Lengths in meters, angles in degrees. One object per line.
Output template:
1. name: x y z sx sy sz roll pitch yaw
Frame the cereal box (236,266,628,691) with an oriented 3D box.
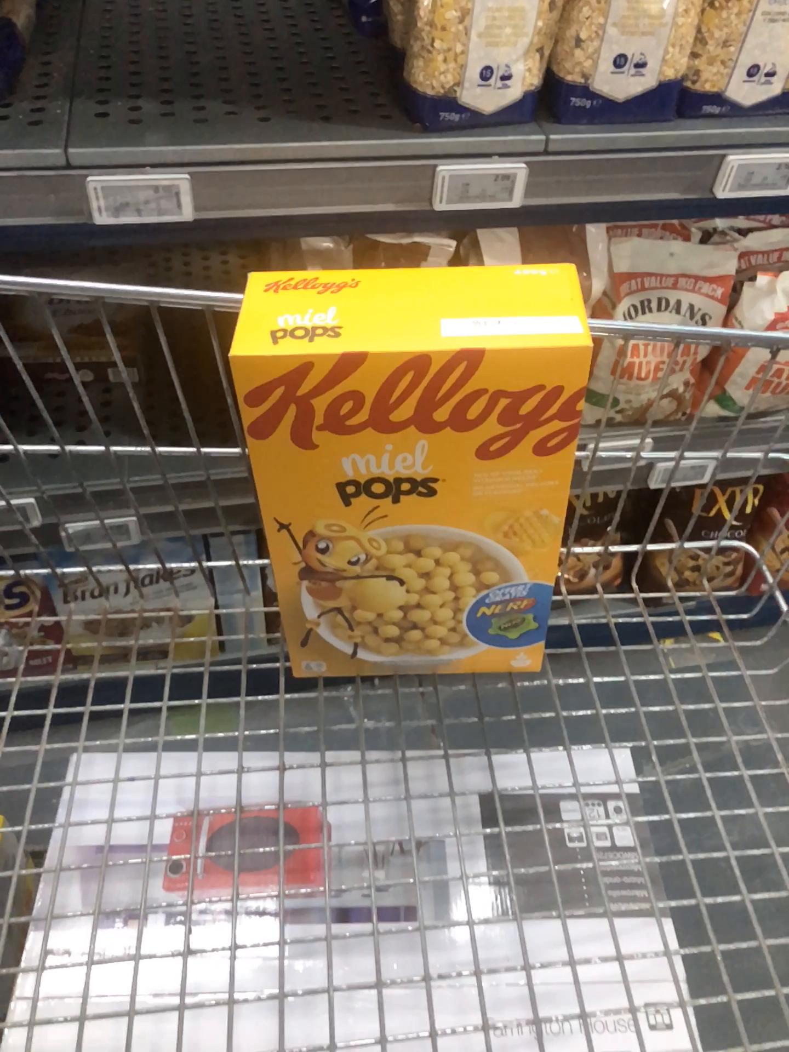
1. cereal box: 0.017 -0.017 0.572 0.200 0.279 0.090 -3 44 -3
